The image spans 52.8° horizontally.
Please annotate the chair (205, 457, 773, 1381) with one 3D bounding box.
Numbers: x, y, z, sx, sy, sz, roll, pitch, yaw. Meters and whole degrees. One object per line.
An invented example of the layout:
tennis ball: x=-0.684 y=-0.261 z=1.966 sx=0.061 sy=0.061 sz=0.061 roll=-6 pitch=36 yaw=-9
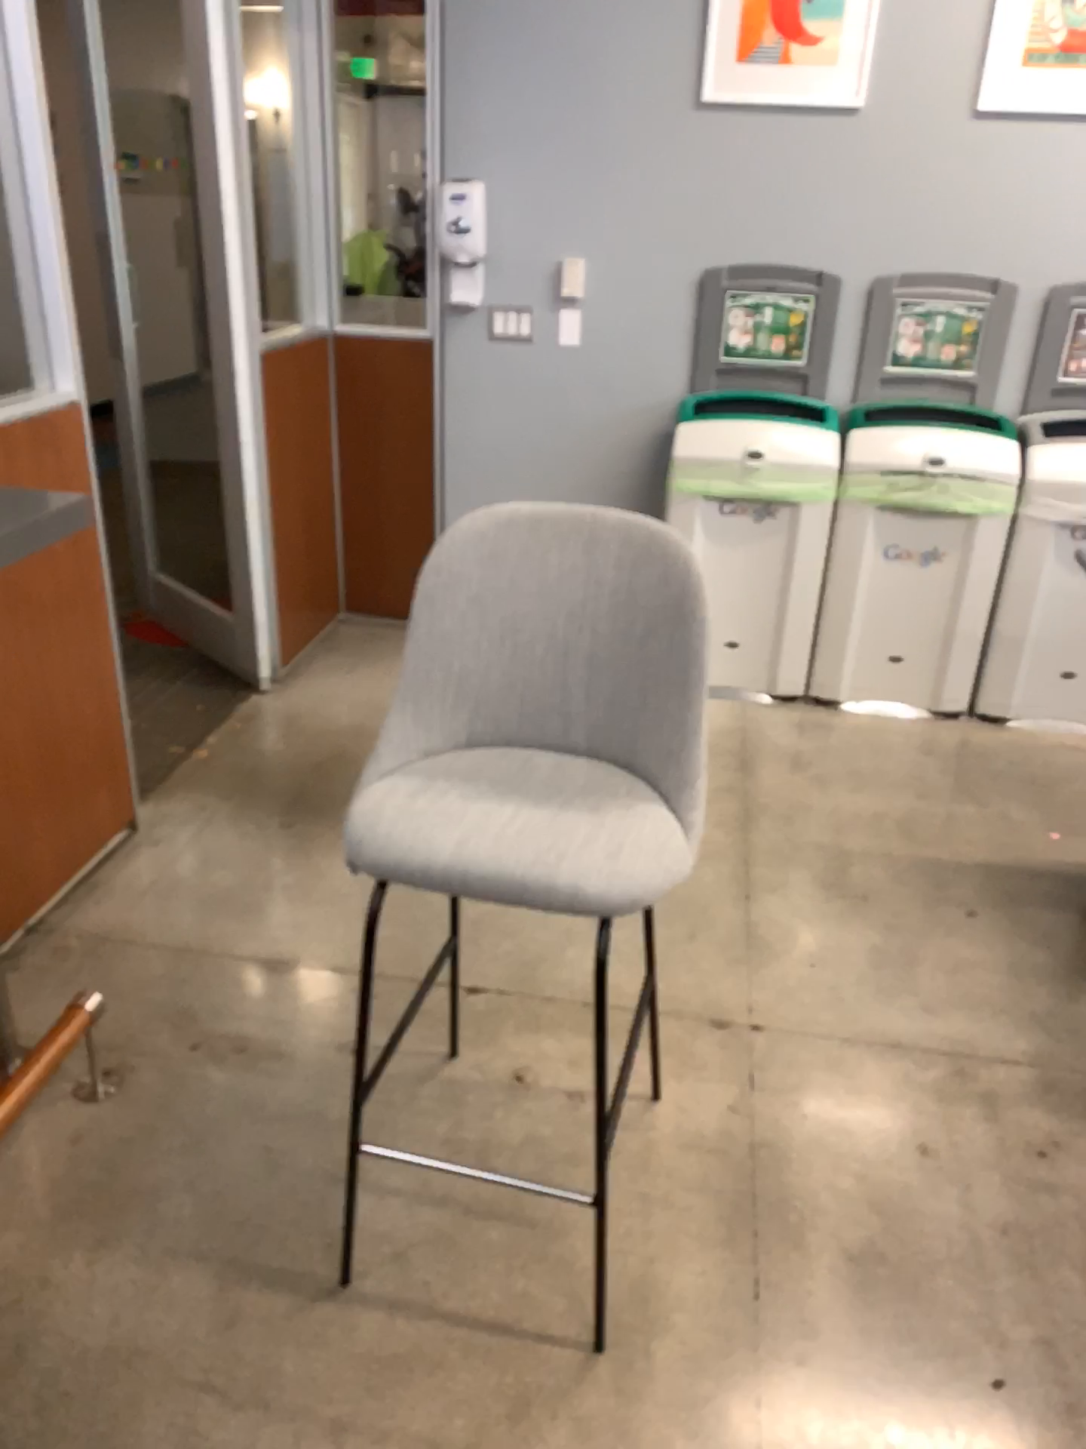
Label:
chair: x=-0.019 y=0.228 z=1.742 sx=0.590 sy=1.094 sz=0.814 roll=8 pitch=25 yaw=11
